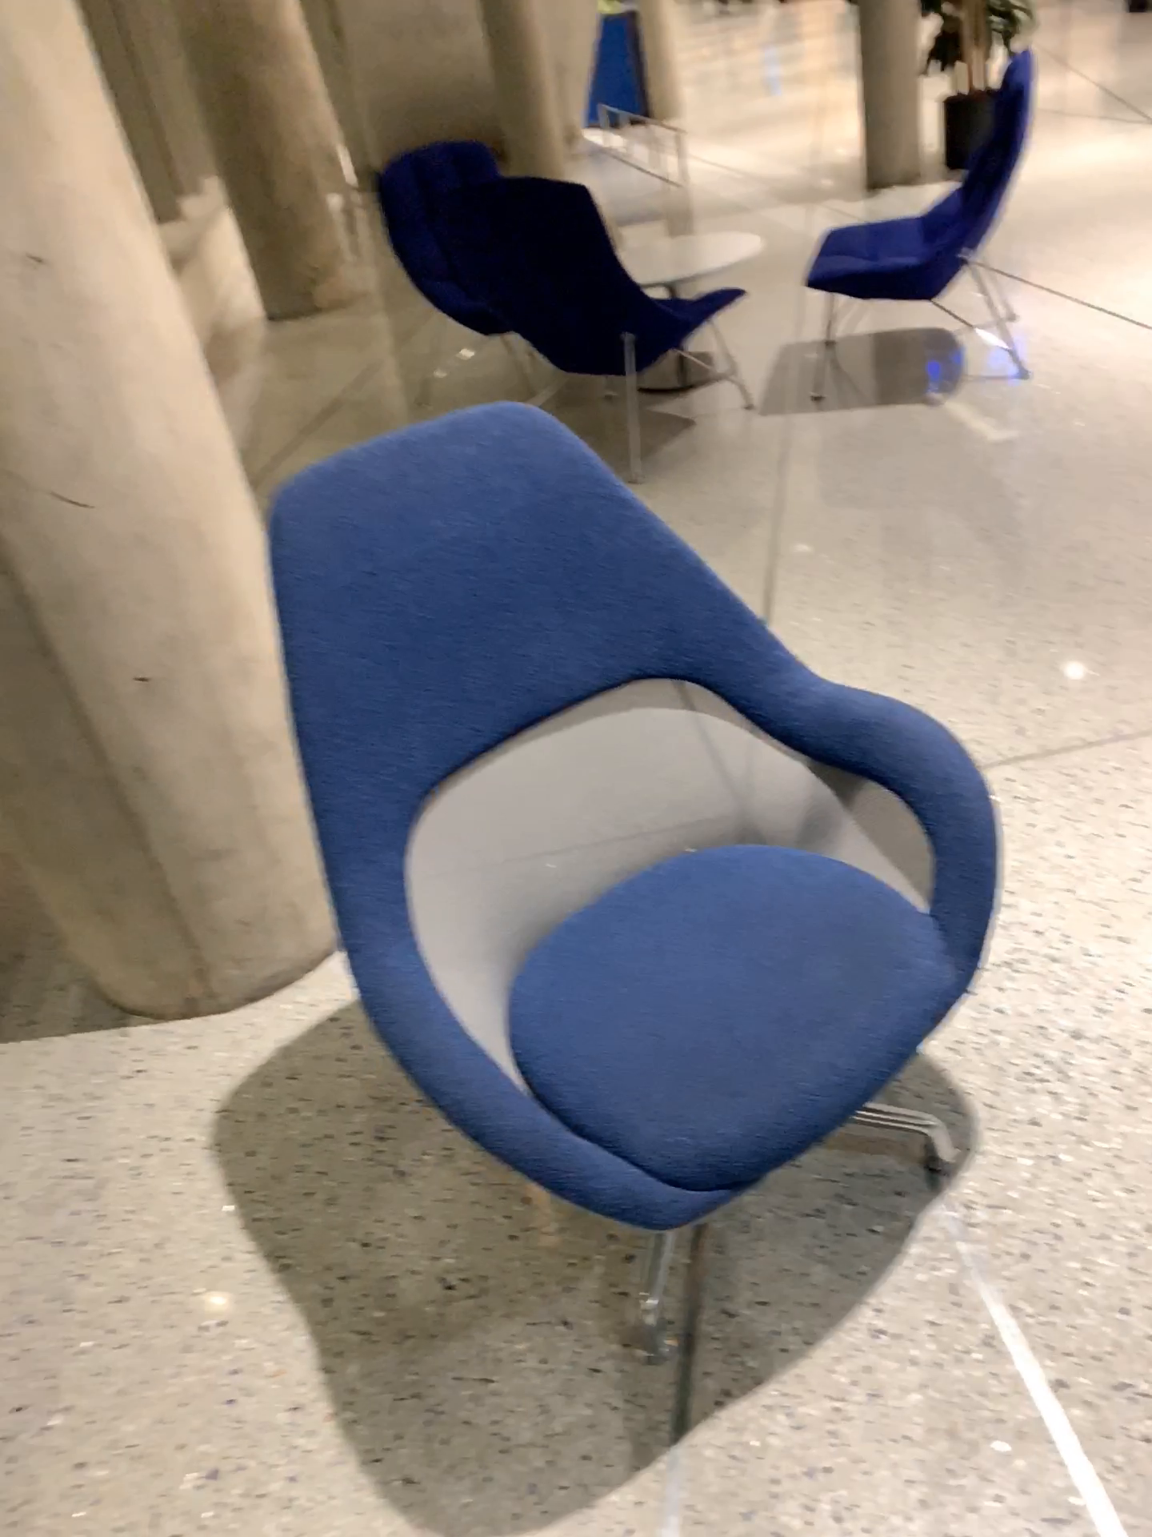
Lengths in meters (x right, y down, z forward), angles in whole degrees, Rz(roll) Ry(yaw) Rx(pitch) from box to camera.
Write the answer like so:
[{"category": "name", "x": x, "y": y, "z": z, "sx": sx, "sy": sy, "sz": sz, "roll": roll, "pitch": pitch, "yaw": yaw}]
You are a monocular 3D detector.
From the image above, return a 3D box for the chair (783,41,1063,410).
[{"category": "chair", "x": 1.082, "y": -1.694, "z": 3.693, "sx": 0.724, "sy": 0.834, "sz": 0.744, "roll": -1, "pitch": 34, "yaw": 17}]

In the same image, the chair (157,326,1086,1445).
[{"category": "chair", "x": 0.081, "y": 0.092, "z": 1.437, "sx": 0.717, "sy": 0.961, "sz": 0.638, "roll": -25, "pitch": 35, "yaw": -19}]

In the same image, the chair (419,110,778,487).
[{"category": "chair", "x": 0.099, "y": -1.438, "z": 3.616, "sx": 0.681, "sy": 0.854, "sz": 0.697, "roll": 20, "pitch": 44, "yaw": 40}]
